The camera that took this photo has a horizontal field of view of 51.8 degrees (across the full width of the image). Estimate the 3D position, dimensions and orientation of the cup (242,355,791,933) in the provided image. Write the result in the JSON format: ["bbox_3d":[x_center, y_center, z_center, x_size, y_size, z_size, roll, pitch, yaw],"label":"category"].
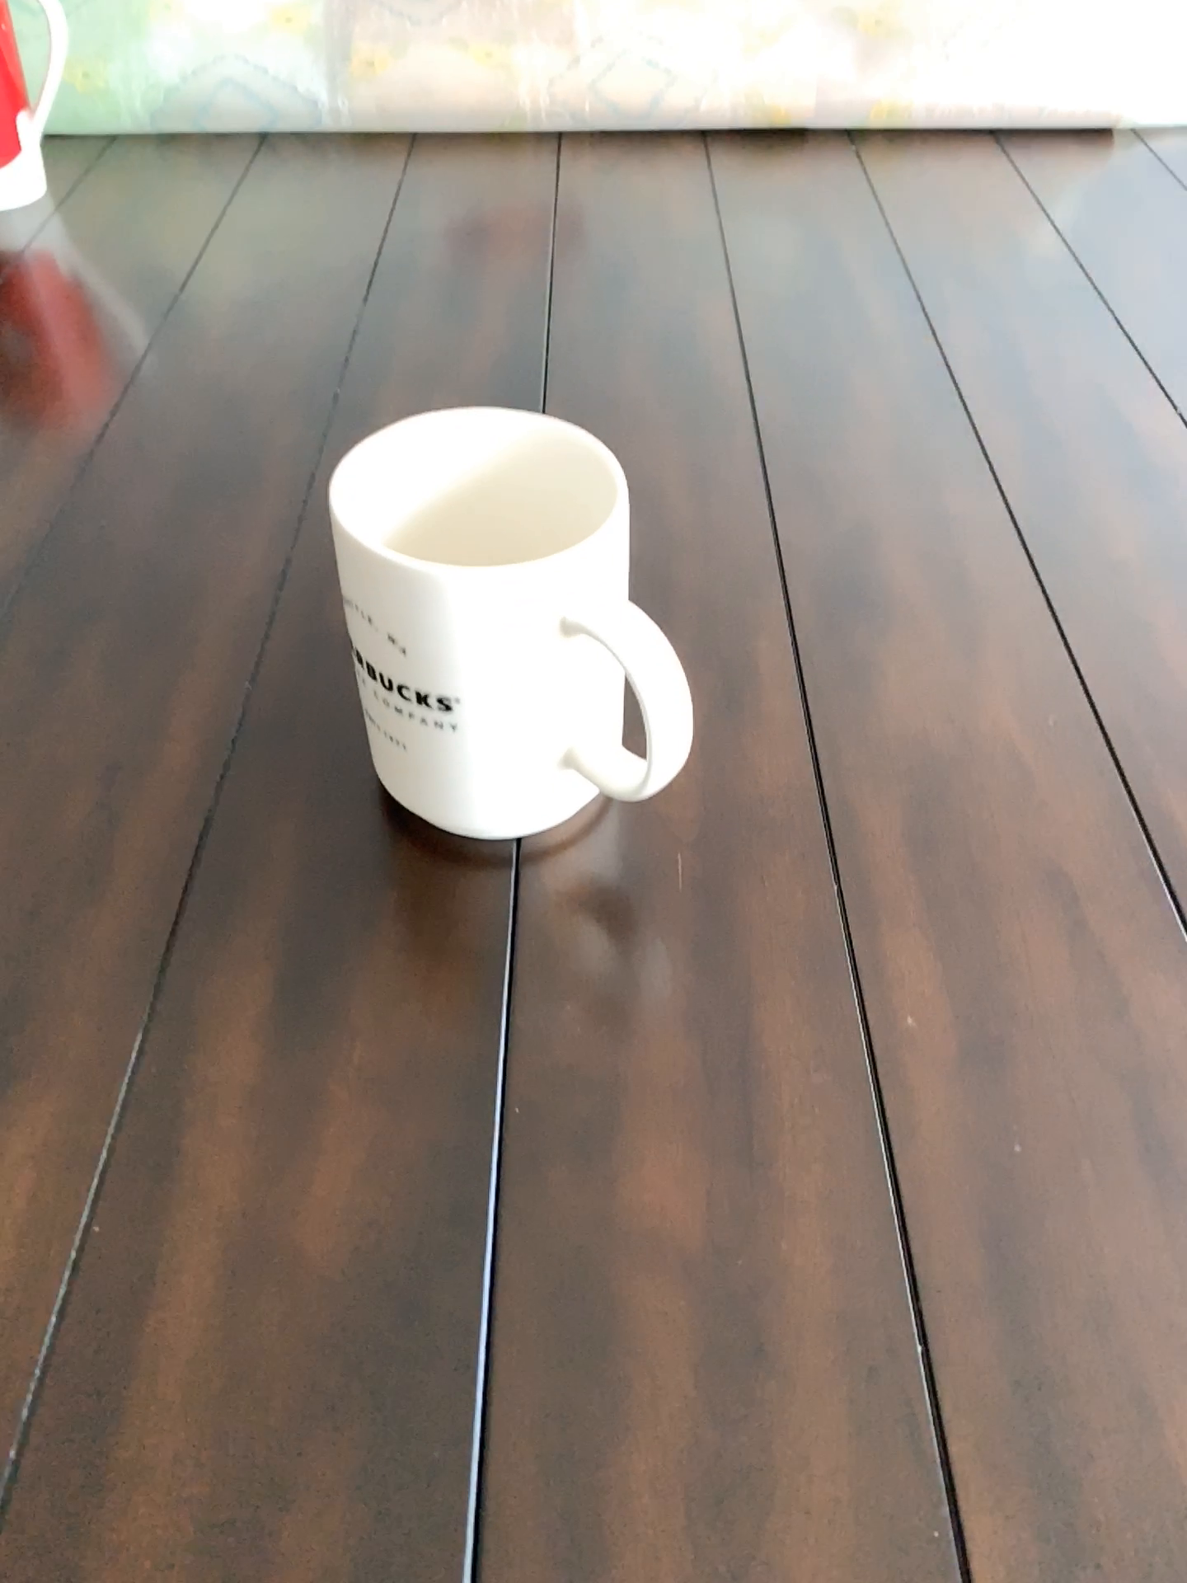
[{"bbox_3d":[-0.024,-0.049,0.391,0.130,0.110,0.090,32,55,24],"label":"cup"}]
